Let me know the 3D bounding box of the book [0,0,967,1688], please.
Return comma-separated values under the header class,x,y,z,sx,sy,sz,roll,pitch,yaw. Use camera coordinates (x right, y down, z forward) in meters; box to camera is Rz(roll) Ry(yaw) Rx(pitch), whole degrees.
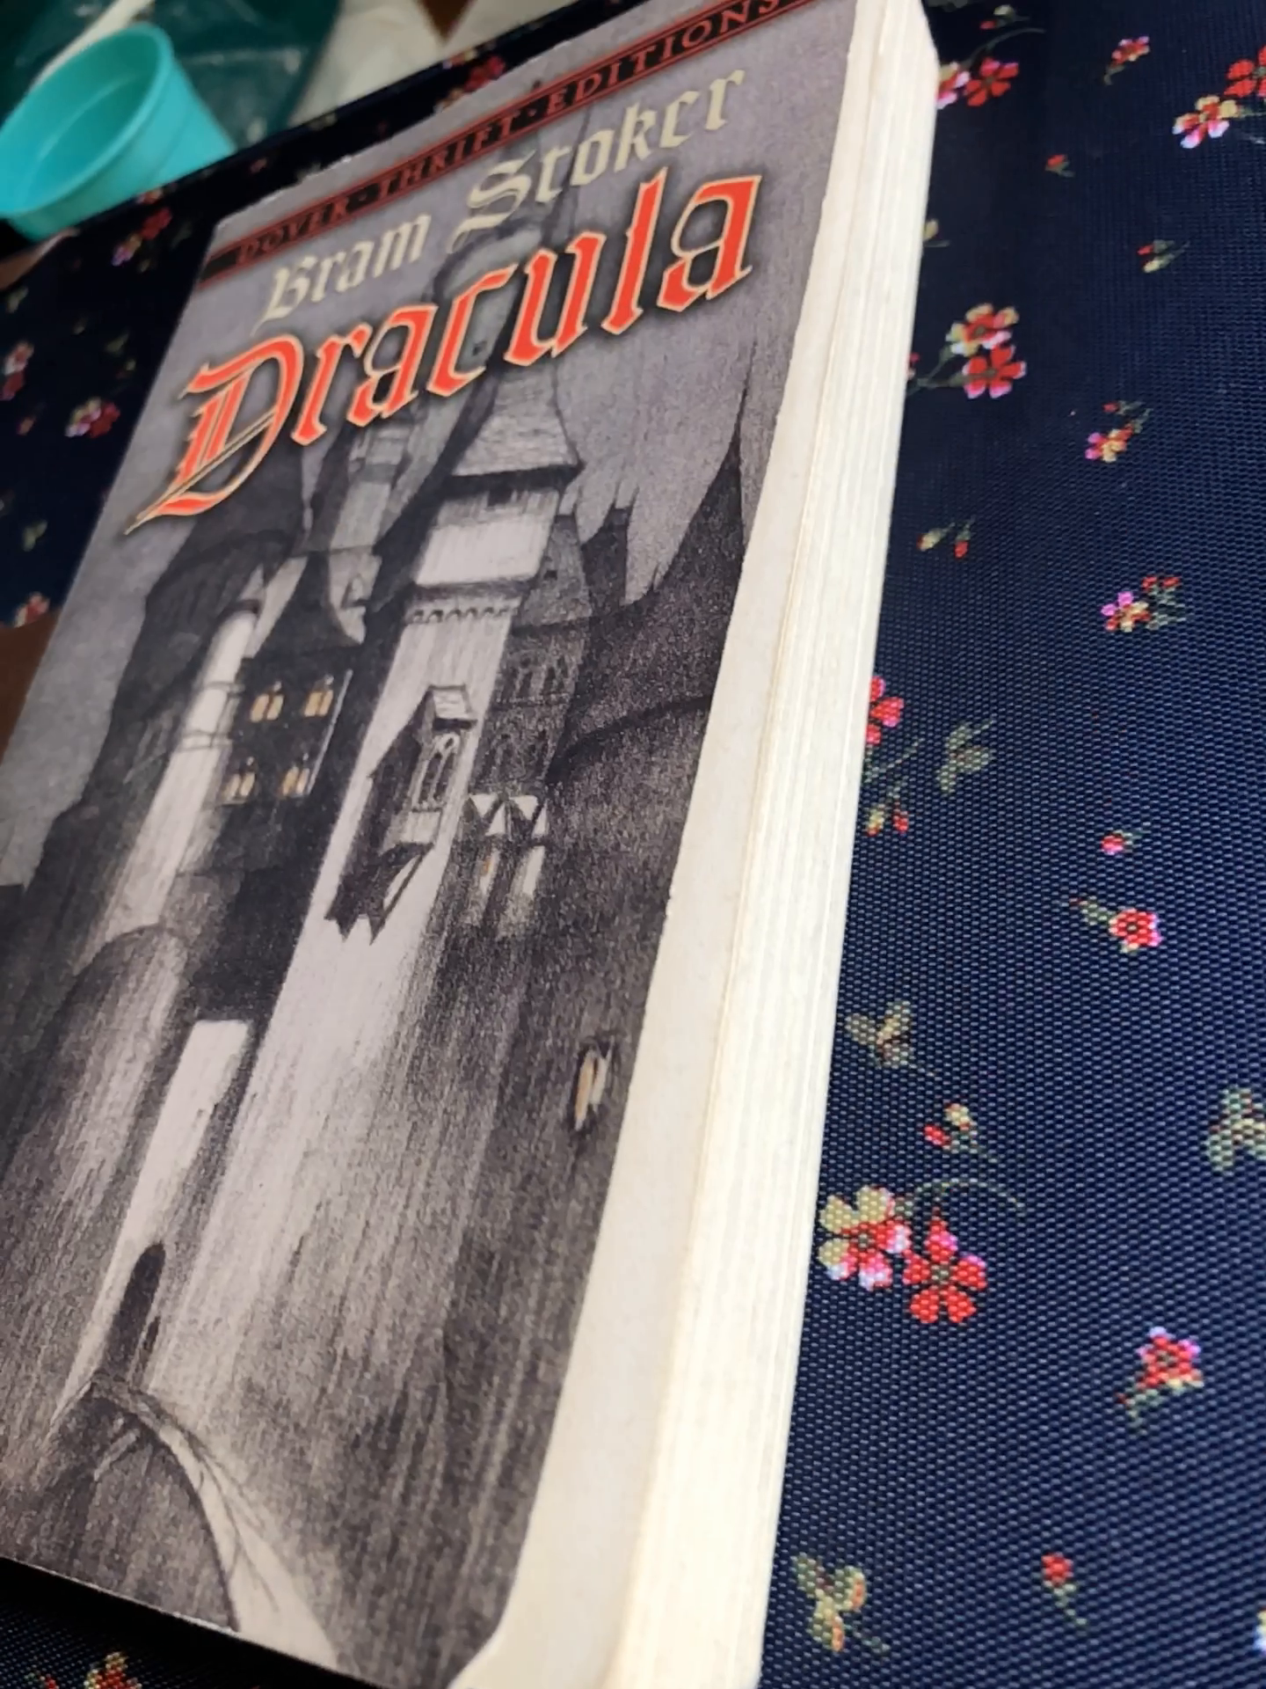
class,x,y,z,sx,sy,sz,roll,pitch,yaw
book,-0.032,-0.016,0.184,0.130,0.033,0.203,-7,60,33
